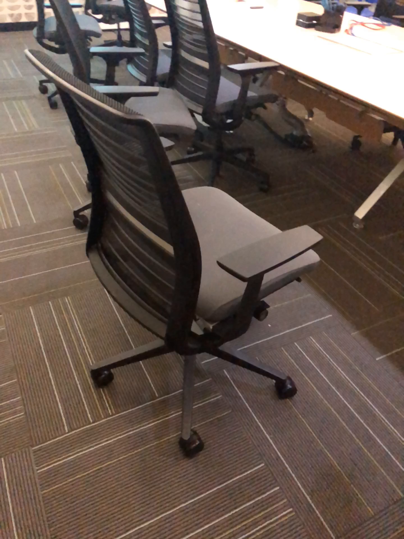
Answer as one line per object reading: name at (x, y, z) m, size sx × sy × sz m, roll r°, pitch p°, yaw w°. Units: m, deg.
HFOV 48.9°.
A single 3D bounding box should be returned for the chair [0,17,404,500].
chair at (-0.017, -0.100, 1.167) m, size 0.661 × 0.856 × 0.723 m, roll -24°, pitch 46°, yaw -32°
